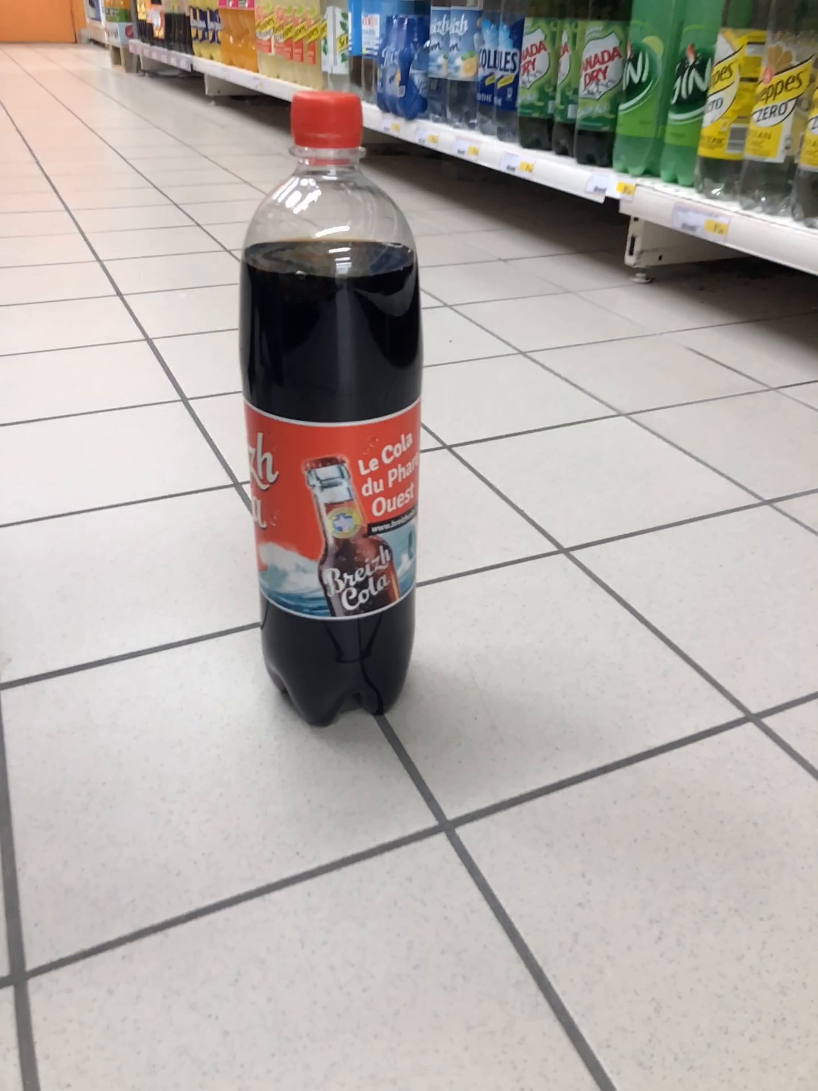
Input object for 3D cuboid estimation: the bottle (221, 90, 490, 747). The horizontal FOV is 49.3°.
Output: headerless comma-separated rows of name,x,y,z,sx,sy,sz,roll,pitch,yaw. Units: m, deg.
bottle,-0.021,-0.053,0.452,0.100,0.308,0.101,1,30,-1
